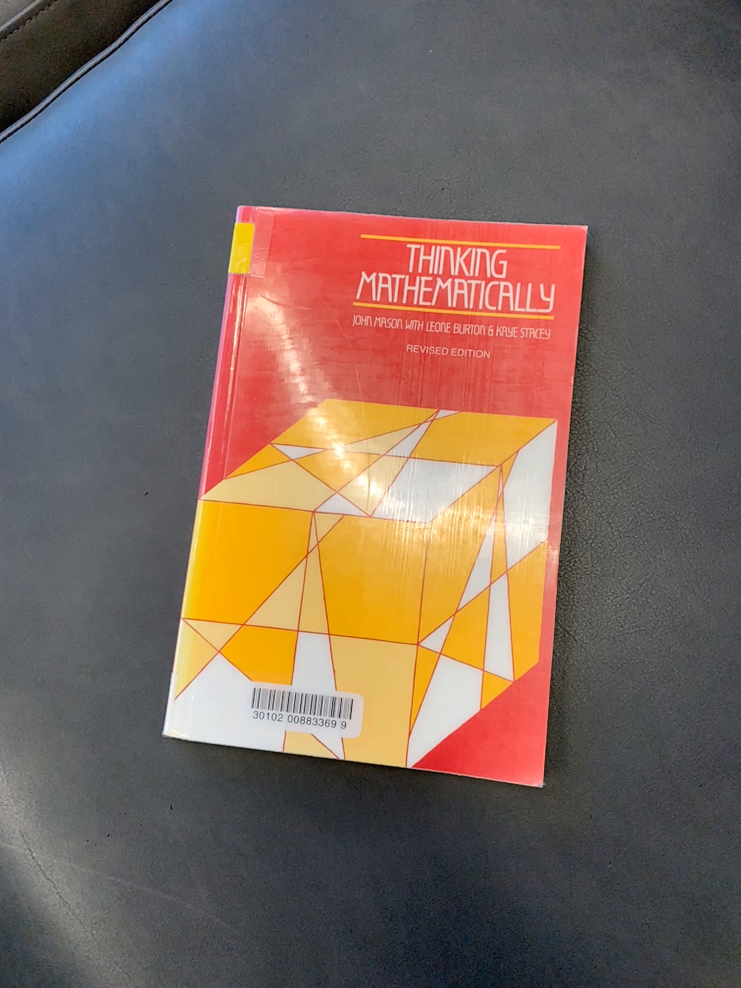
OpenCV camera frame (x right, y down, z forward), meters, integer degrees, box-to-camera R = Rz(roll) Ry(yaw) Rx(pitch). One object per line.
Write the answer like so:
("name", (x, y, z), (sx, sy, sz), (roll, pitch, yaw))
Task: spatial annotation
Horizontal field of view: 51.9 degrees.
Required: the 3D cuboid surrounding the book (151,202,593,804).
("book", (0.003, -0.004, 0.316), (0.156, 0.016, 0.232), (5, 83, 5))
